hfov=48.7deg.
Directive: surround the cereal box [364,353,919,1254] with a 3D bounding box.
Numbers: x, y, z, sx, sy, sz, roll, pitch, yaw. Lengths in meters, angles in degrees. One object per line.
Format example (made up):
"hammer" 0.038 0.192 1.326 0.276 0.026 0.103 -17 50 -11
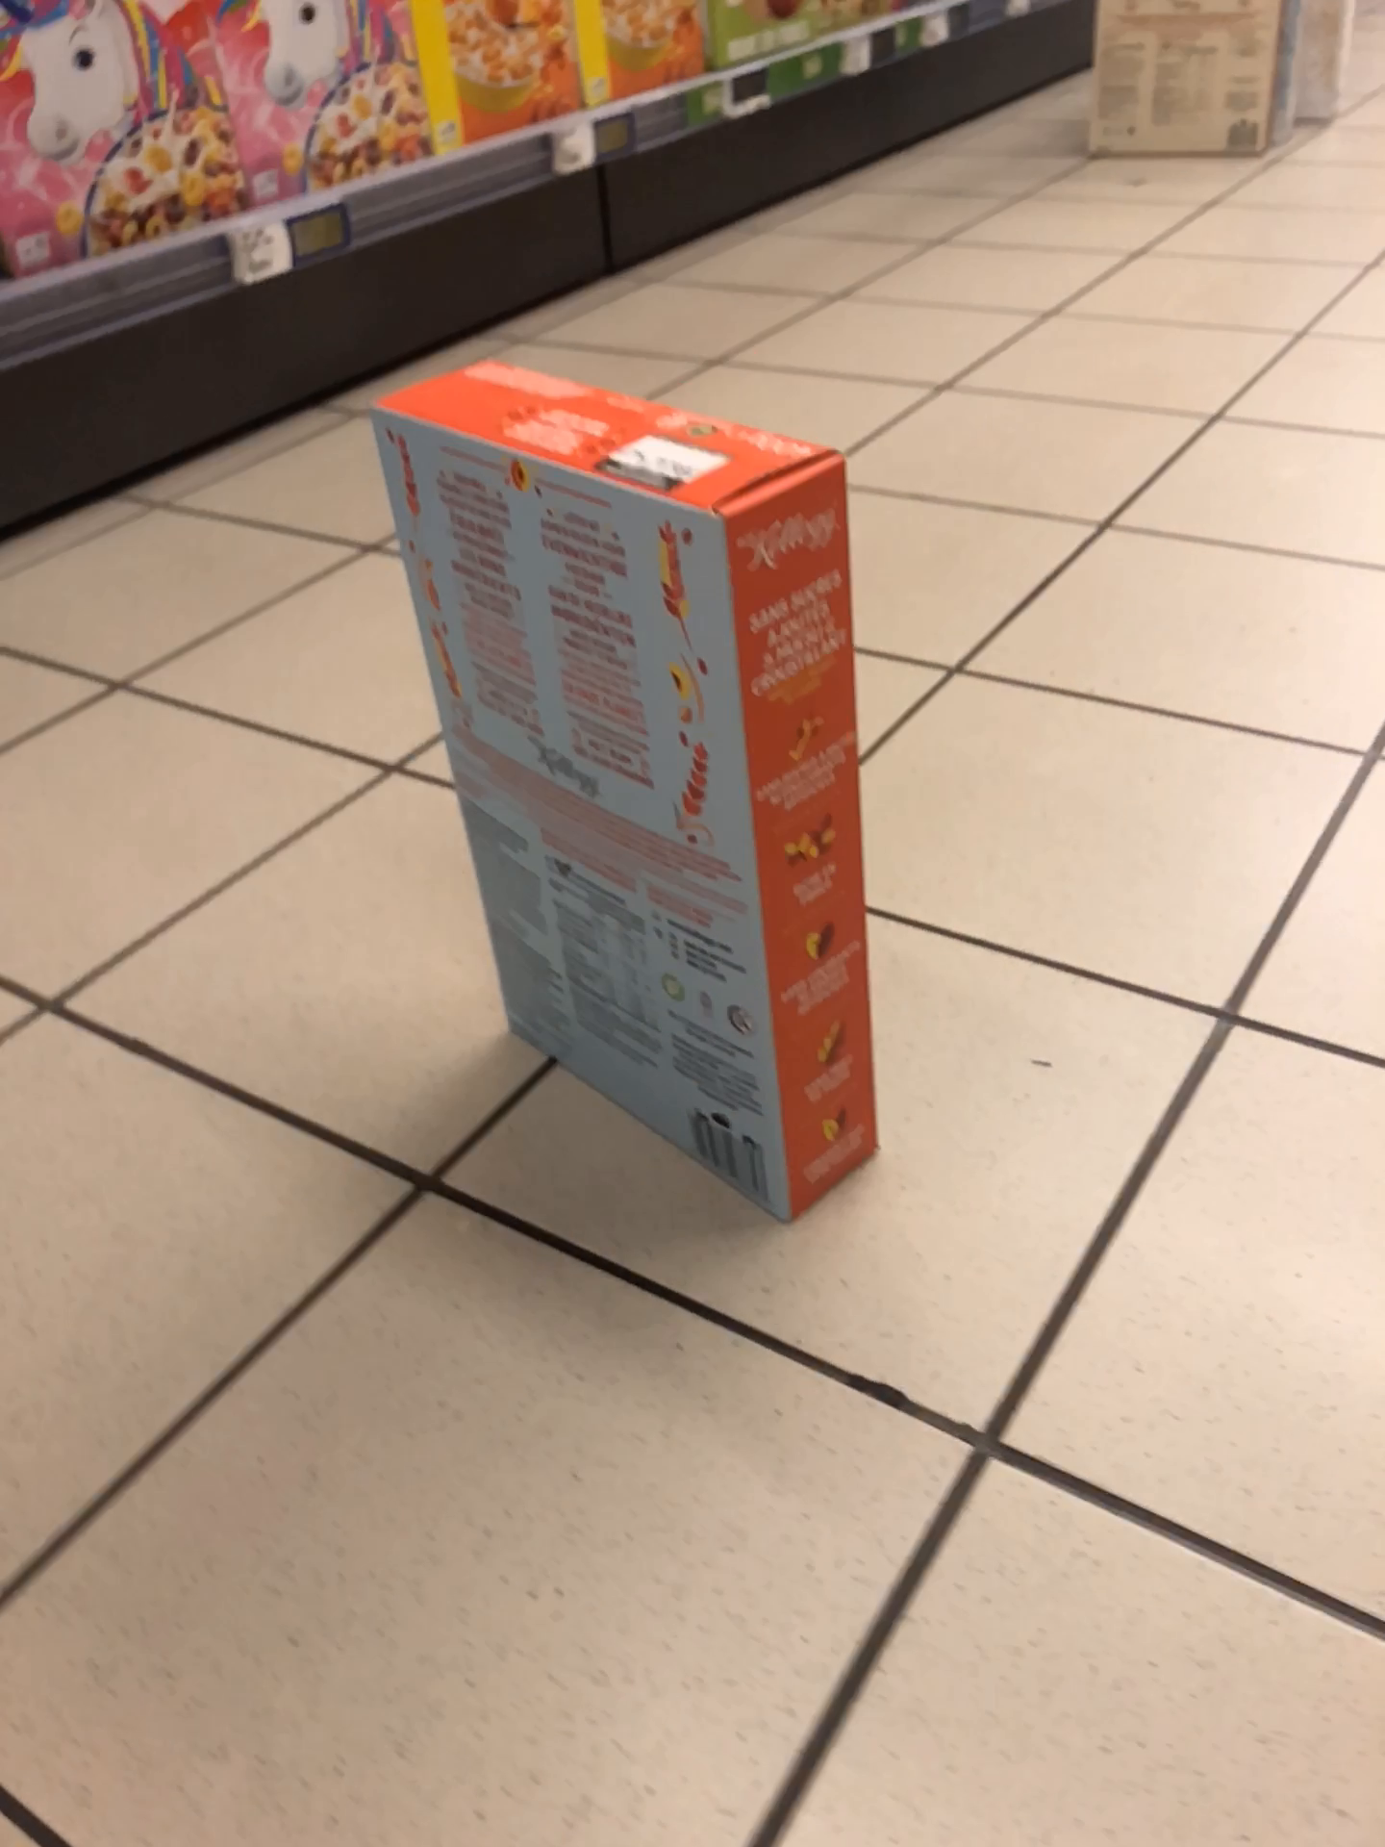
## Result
"cereal box" -0.009 -0.033 0.451 0.050 0.229 0.150 -32 43 -30
